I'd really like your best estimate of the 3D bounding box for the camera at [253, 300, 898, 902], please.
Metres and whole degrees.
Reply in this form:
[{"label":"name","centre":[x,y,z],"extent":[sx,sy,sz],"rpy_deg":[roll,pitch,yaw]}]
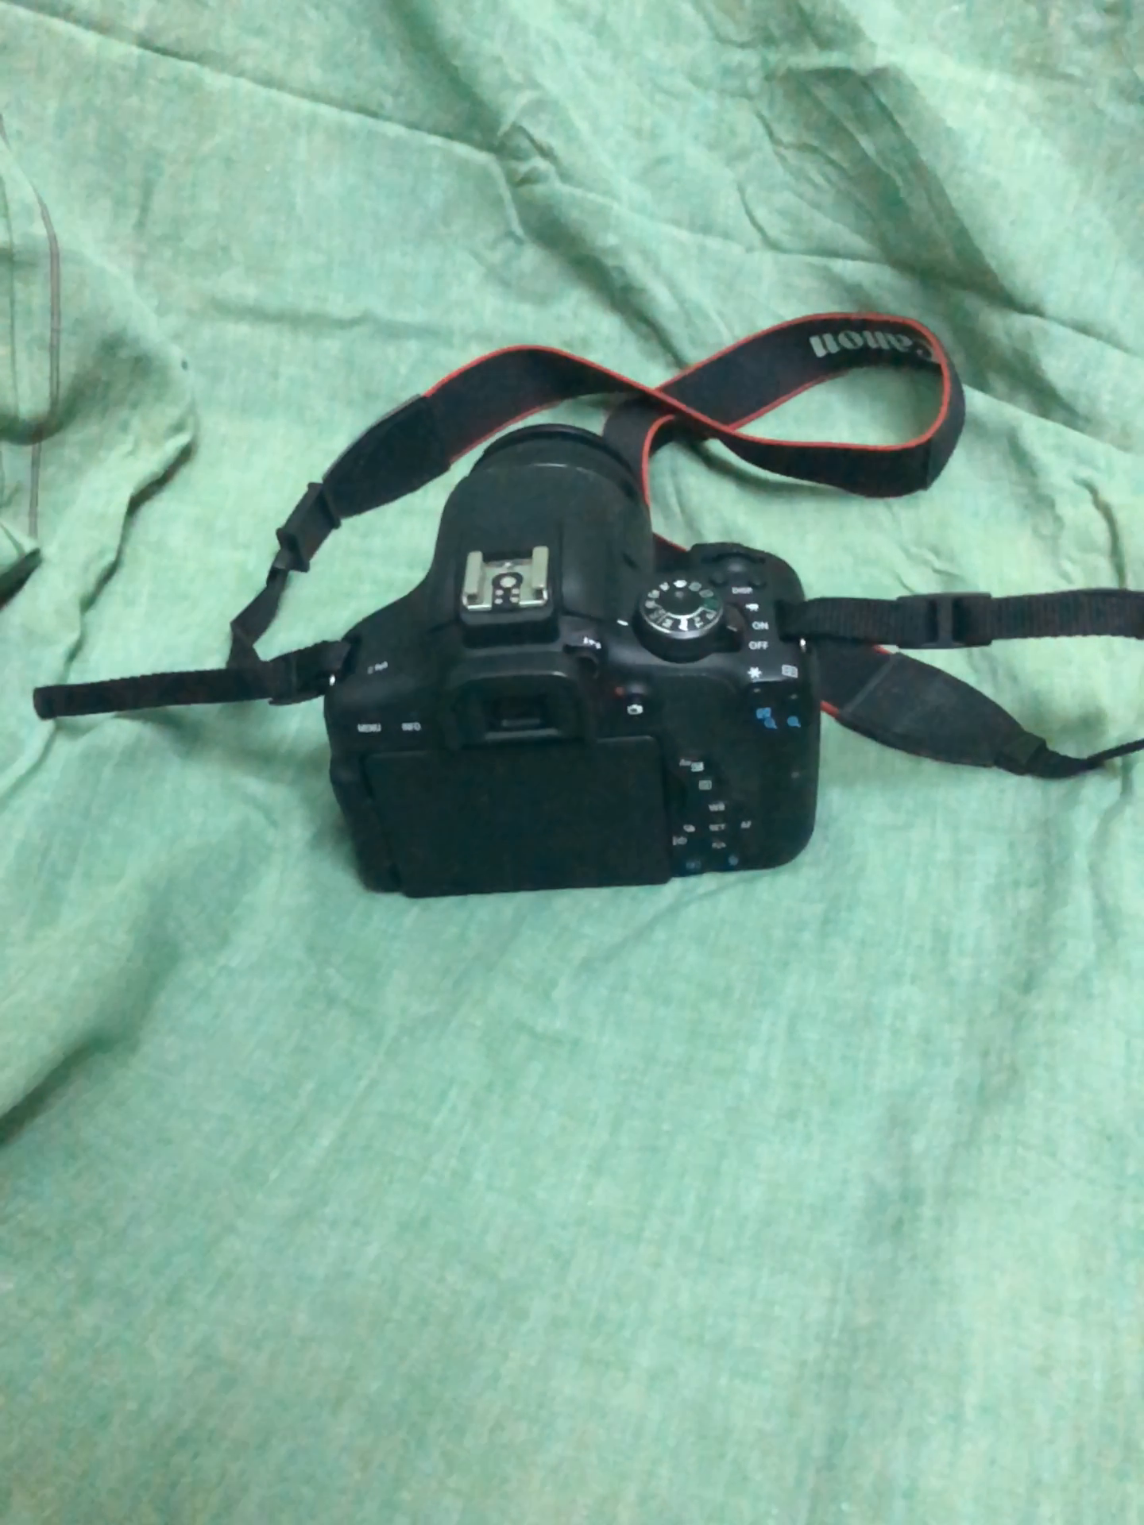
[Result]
[{"label":"camera","centre":[0.002,-0.049,0.364],"extent":[0.142,0.099,0.145],"rpy_deg":[-1,47,1]}]
